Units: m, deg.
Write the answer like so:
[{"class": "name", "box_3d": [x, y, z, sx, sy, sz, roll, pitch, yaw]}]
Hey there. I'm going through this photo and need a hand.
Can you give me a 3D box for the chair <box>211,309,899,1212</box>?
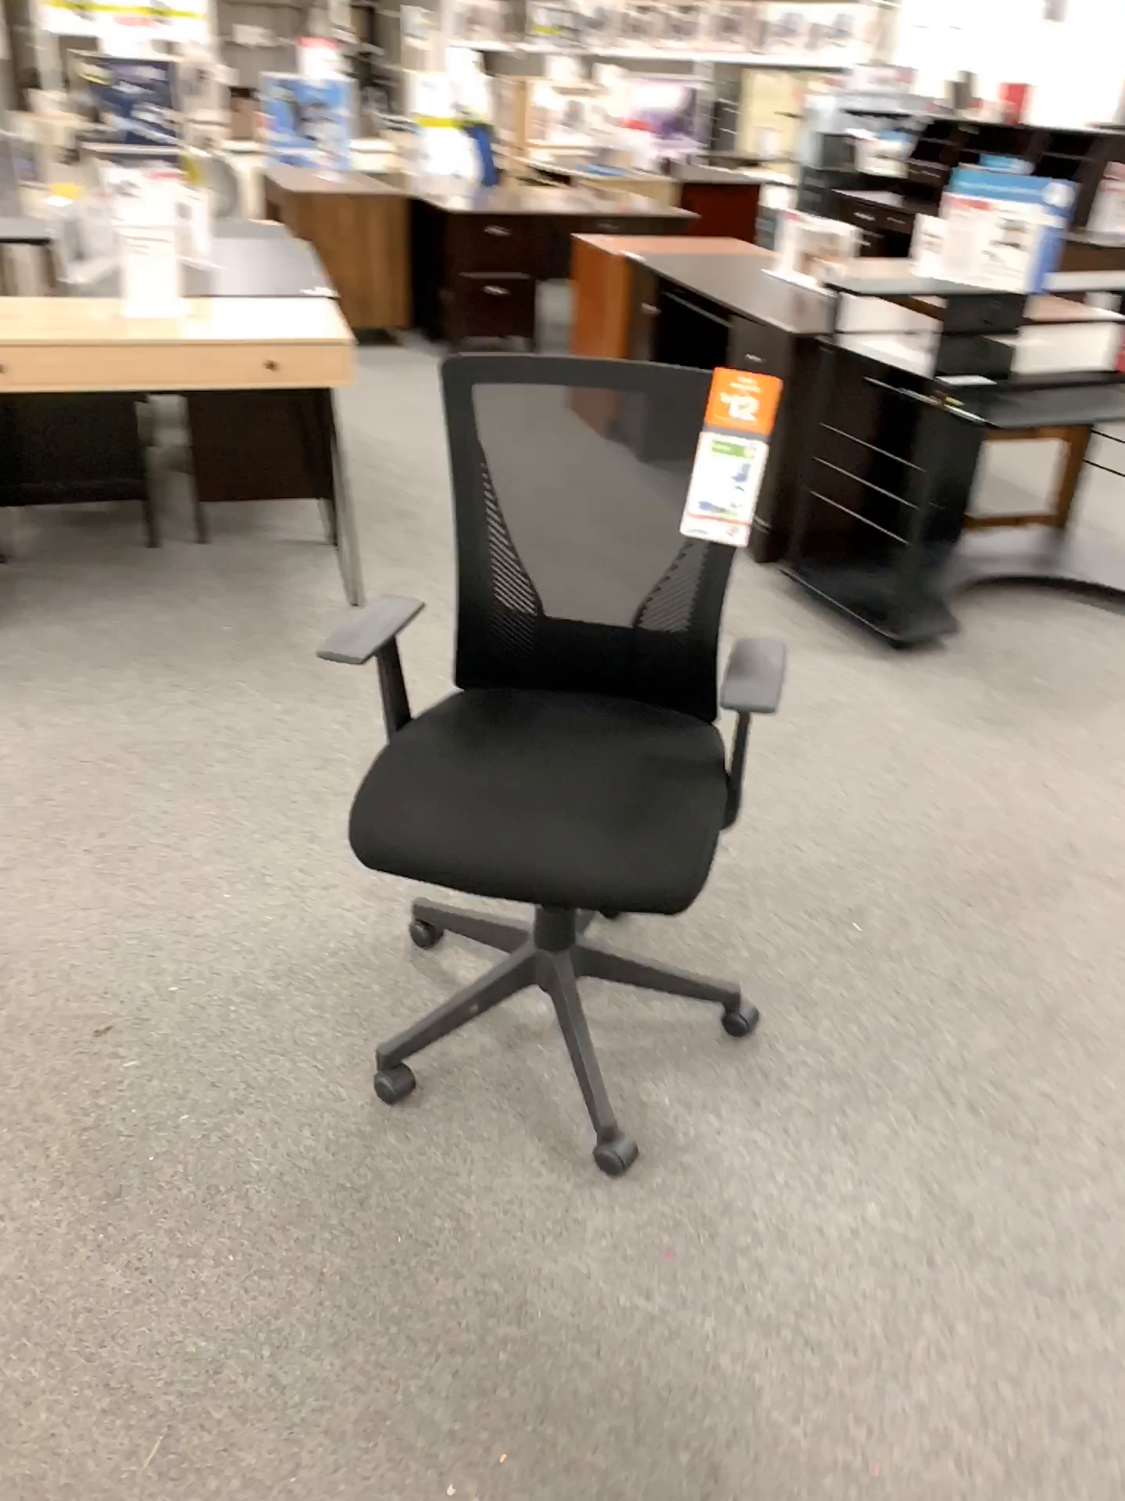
[{"class": "chair", "box_3d": [0.023, -0.023, 1.645, 0.671, 0.994, 0.643, 12, 31, 14]}]
